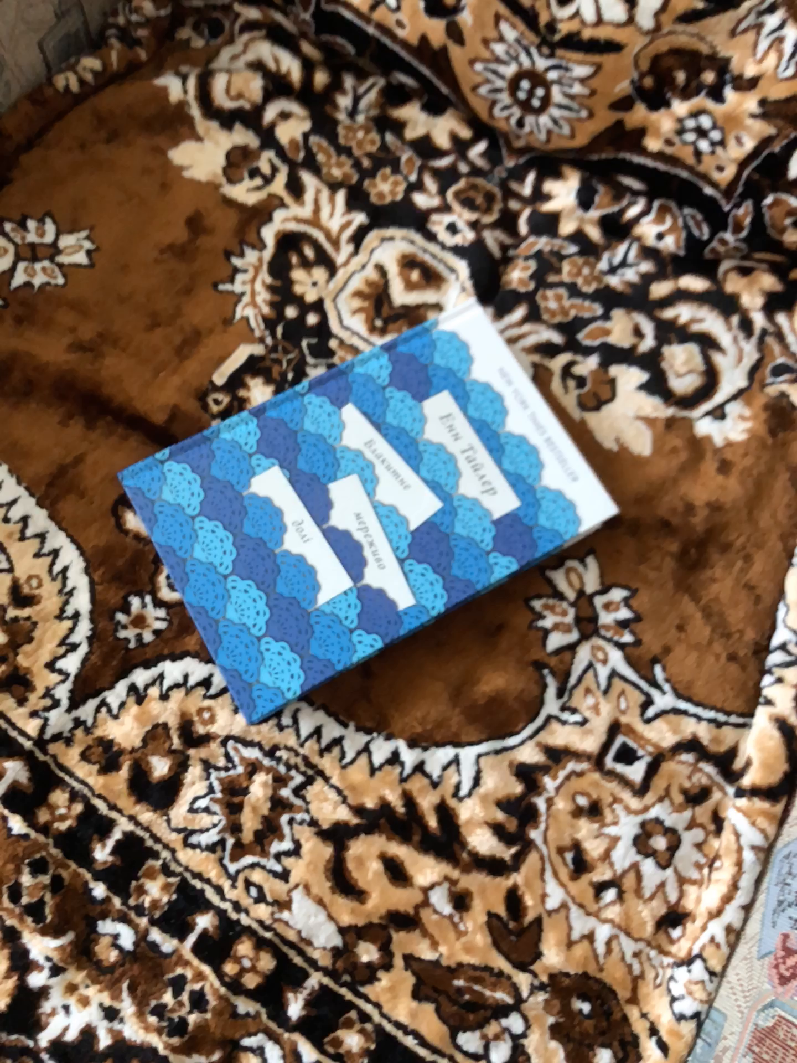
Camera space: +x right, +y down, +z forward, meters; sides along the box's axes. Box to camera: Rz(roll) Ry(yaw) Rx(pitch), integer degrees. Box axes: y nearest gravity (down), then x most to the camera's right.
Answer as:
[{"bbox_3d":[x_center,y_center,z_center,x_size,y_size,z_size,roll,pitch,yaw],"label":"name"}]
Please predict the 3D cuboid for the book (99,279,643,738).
[{"bbox_3d":[-0.012,-0.020,0.467,0.233,0.030,0.155,-28,76,-14],"label":"book"}]
